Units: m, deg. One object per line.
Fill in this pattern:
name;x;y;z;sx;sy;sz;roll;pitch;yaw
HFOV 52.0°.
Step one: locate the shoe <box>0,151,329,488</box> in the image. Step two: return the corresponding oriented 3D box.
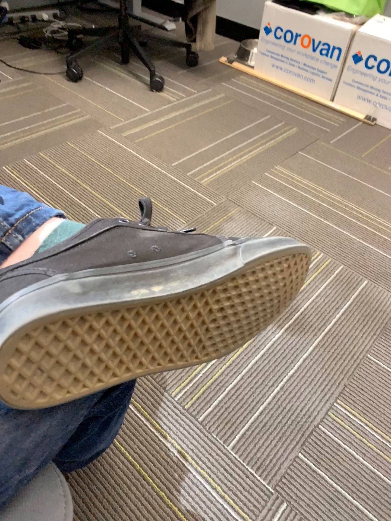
shoe;-0.042;0.021;0.328;0.260;0.119;0.135;-24;44;-27
